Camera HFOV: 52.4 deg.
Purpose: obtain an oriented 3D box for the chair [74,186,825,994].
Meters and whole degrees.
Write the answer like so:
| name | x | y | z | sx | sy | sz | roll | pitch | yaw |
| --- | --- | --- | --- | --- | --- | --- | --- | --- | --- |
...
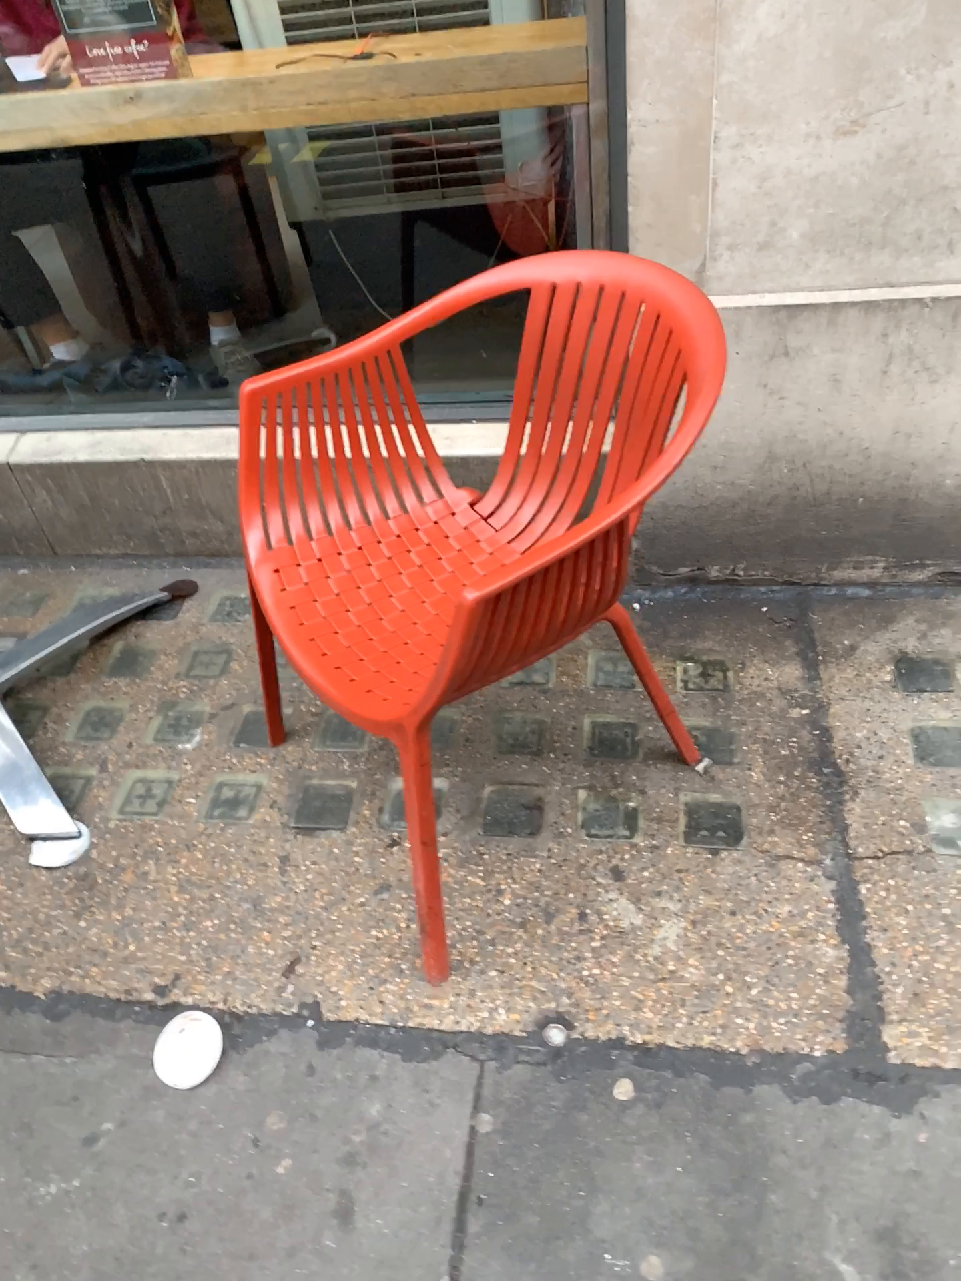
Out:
| name | x | y | z | sx | sy | sz | roll | pitch | yaw |
| --- | --- | --- | --- | --- | --- | --- | --- | --- | --- |
| chair | -0.025 | -0.092 | 1.305 | 0.611 | 0.693 | 0.585 | -29 | 47 | -21 |
